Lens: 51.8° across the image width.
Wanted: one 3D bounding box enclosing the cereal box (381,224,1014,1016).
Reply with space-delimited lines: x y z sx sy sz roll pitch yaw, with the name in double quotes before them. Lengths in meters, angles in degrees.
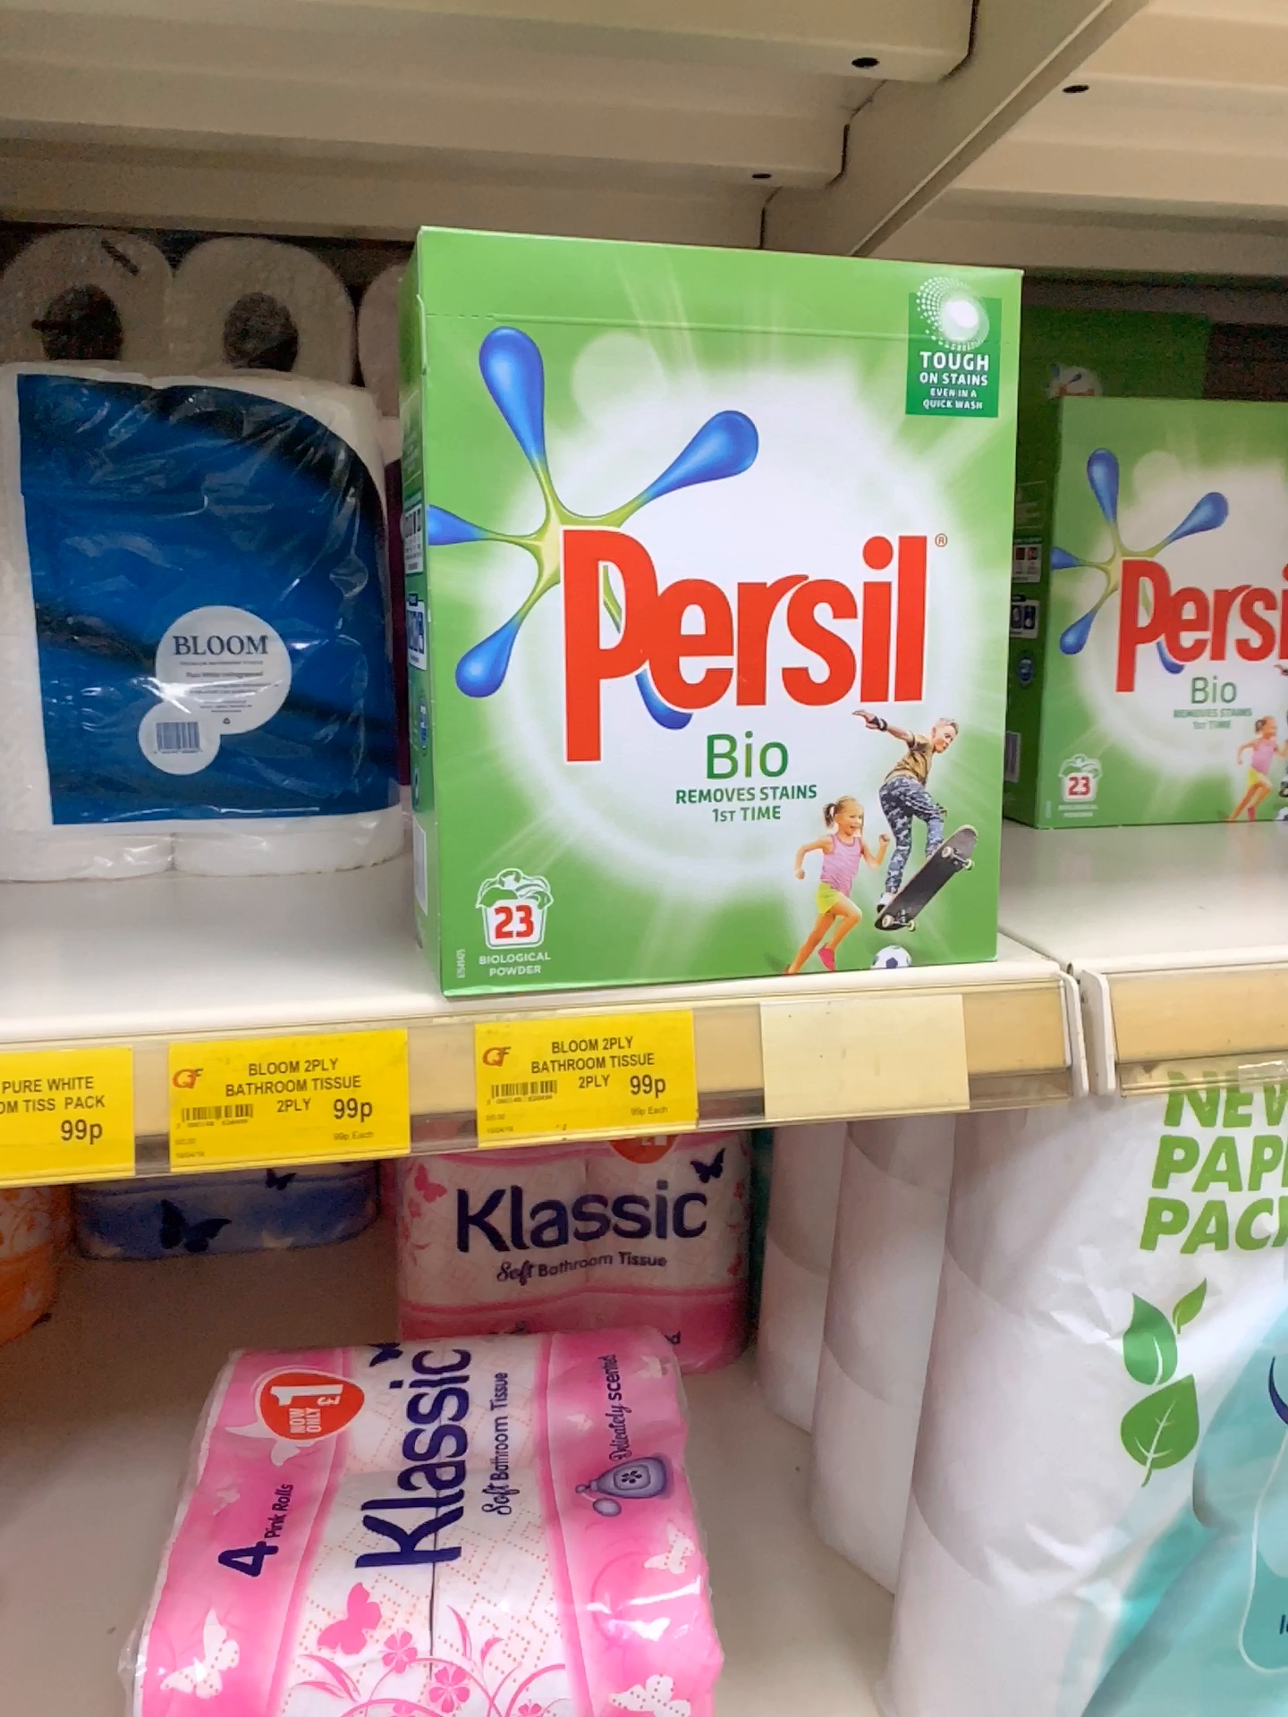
"cereal box" 0.015 -0.081 0.473 0.200 0.239 0.090 -3 9 -13
